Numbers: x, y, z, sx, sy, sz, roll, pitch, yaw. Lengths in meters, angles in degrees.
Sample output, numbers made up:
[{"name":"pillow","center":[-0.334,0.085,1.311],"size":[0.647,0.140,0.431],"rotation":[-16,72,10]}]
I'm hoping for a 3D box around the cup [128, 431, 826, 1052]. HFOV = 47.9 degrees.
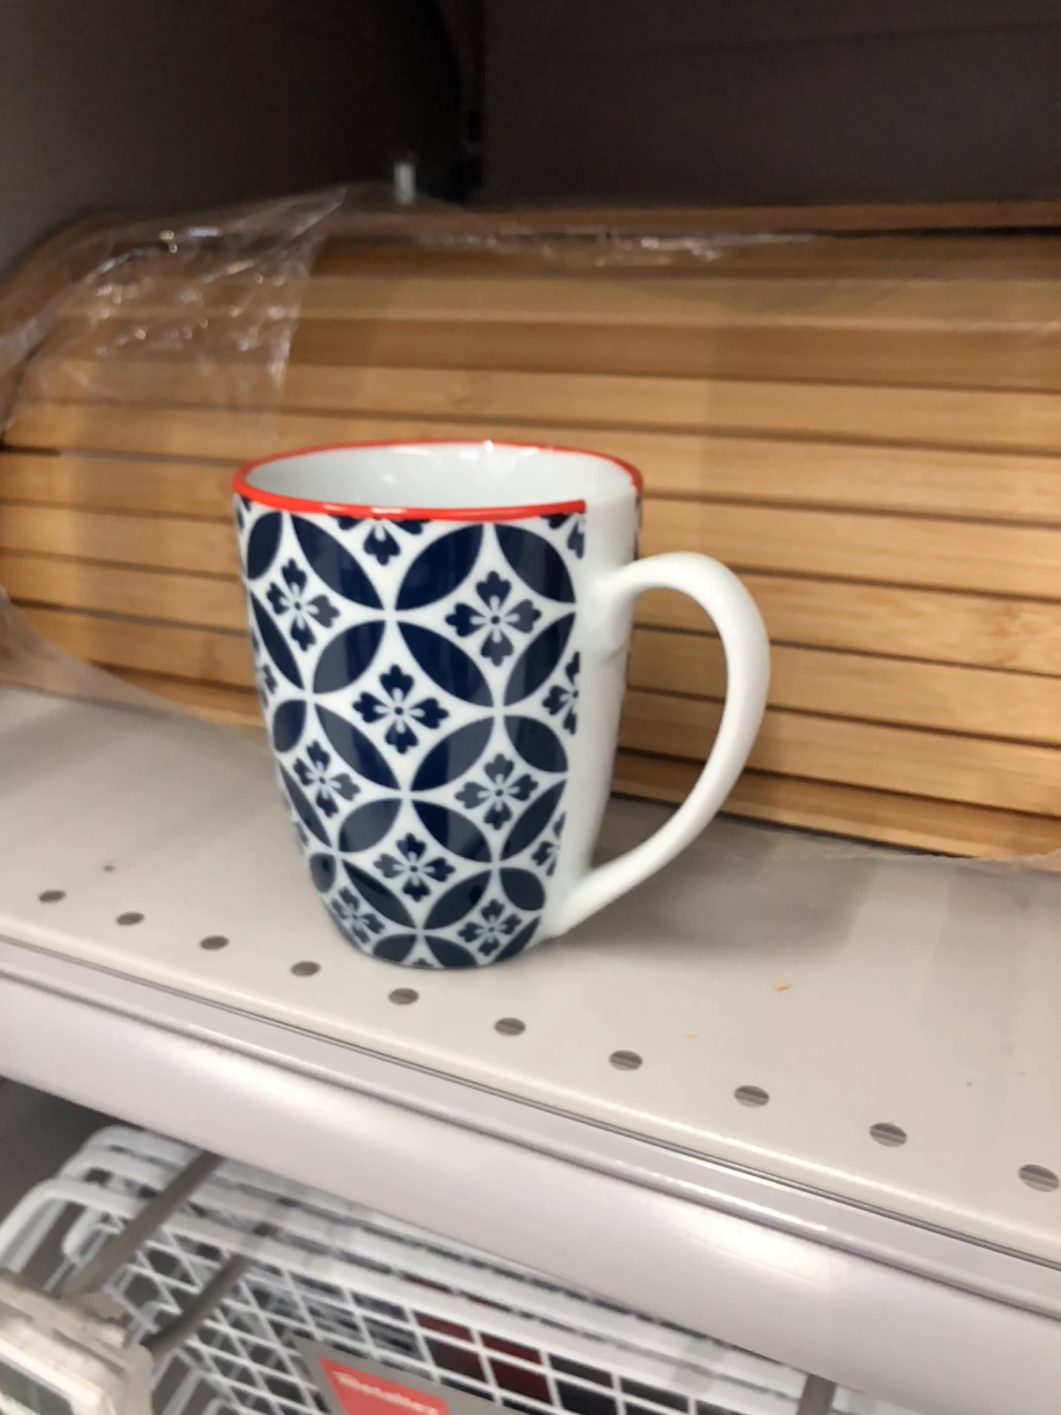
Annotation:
[{"name":"cup","center":[-0.007,-0.003,0.251],"size":[0.113,0.090,0.080],"rotation":[9,23,25]}]
